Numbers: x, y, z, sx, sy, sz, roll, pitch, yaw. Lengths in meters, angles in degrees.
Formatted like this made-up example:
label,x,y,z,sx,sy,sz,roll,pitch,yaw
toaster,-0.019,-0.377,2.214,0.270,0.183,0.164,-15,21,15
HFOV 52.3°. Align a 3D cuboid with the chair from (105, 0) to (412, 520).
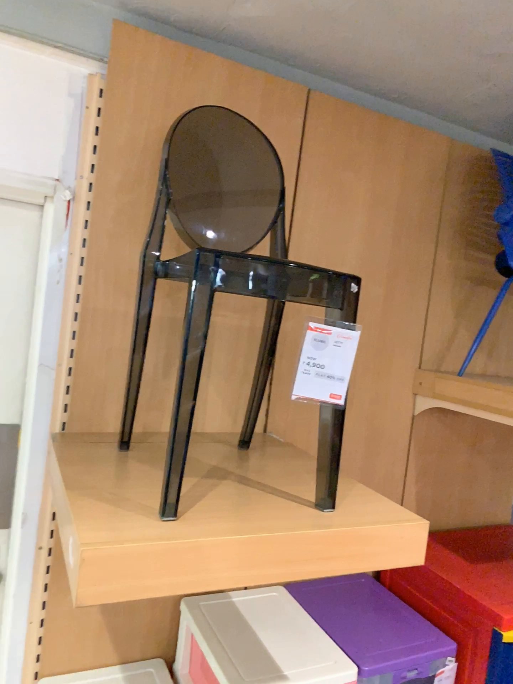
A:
label,x,y,z,sx,sy,sz,roll,pitch,yaw
chair,-0.035,-0.139,1.130,0.400,0.850,0.470,6,2,-27
